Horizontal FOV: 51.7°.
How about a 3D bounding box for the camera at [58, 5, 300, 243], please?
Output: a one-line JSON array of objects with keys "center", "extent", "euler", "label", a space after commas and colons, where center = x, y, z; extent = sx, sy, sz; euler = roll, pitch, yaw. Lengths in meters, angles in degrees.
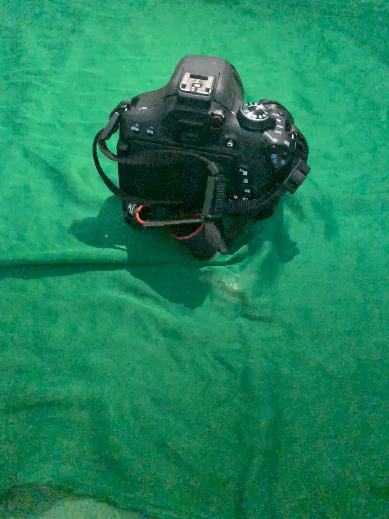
[{"center": [-0.004, -0.124, 0.349], "extent": [0.152, 0.100, 0.191], "euler": [4, 53, 2], "label": "camera"}]
